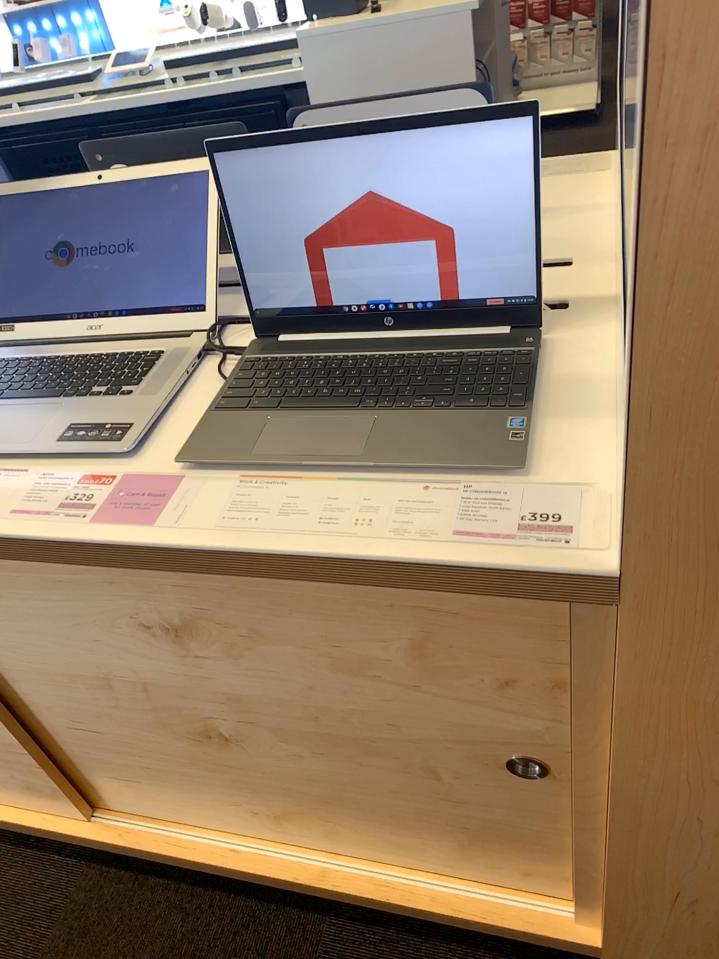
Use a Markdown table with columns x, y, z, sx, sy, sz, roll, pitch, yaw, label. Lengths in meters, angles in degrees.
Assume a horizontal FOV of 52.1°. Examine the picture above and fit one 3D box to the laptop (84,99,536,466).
| x | y | z | sx | sy | sz | roll | pitch | yaw | label |
| --- | --- | --- | --- | --- | --- | --- | --- | --- | --- |
| -0.015 | -0.192 | 0.733 | 0.351 | 0.228 | 0.265 | 1 | 41 | 17 | laptop |
